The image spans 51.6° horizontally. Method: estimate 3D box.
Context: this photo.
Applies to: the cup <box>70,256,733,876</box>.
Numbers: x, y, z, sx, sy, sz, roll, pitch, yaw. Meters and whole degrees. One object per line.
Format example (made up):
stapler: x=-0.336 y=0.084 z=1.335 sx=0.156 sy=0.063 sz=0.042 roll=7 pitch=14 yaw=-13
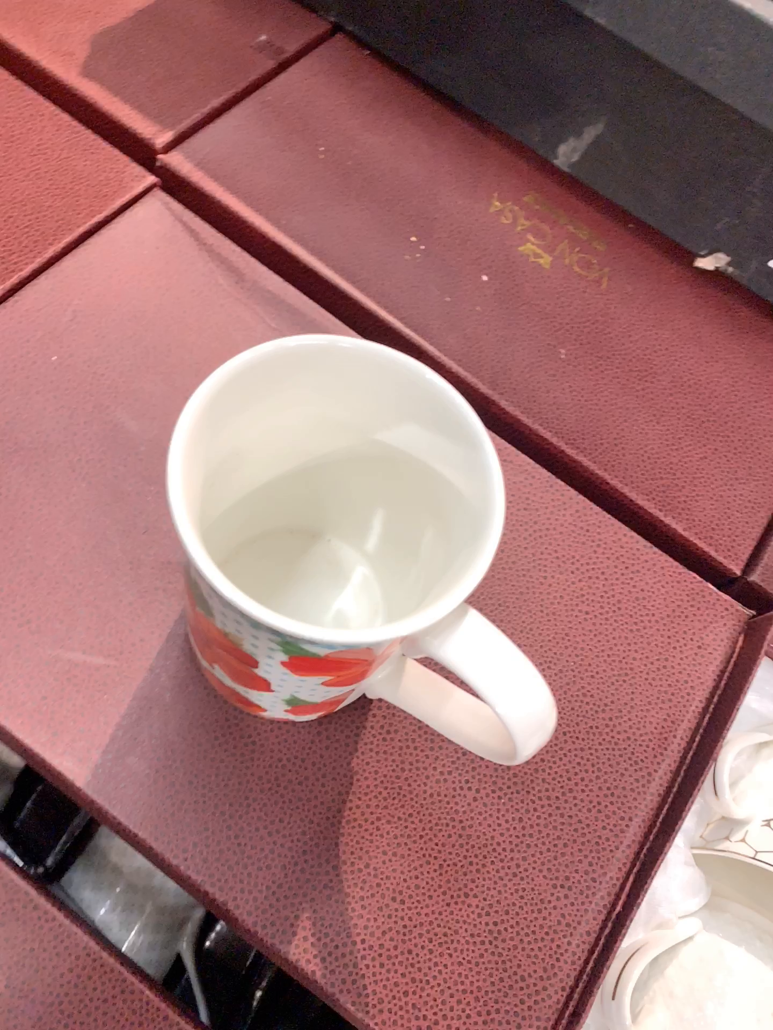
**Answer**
cup: x=-0.003 y=0.024 z=0.218 sx=0.120 sy=0.110 sz=0.080 roll=38 pitch=63 yaw=6
